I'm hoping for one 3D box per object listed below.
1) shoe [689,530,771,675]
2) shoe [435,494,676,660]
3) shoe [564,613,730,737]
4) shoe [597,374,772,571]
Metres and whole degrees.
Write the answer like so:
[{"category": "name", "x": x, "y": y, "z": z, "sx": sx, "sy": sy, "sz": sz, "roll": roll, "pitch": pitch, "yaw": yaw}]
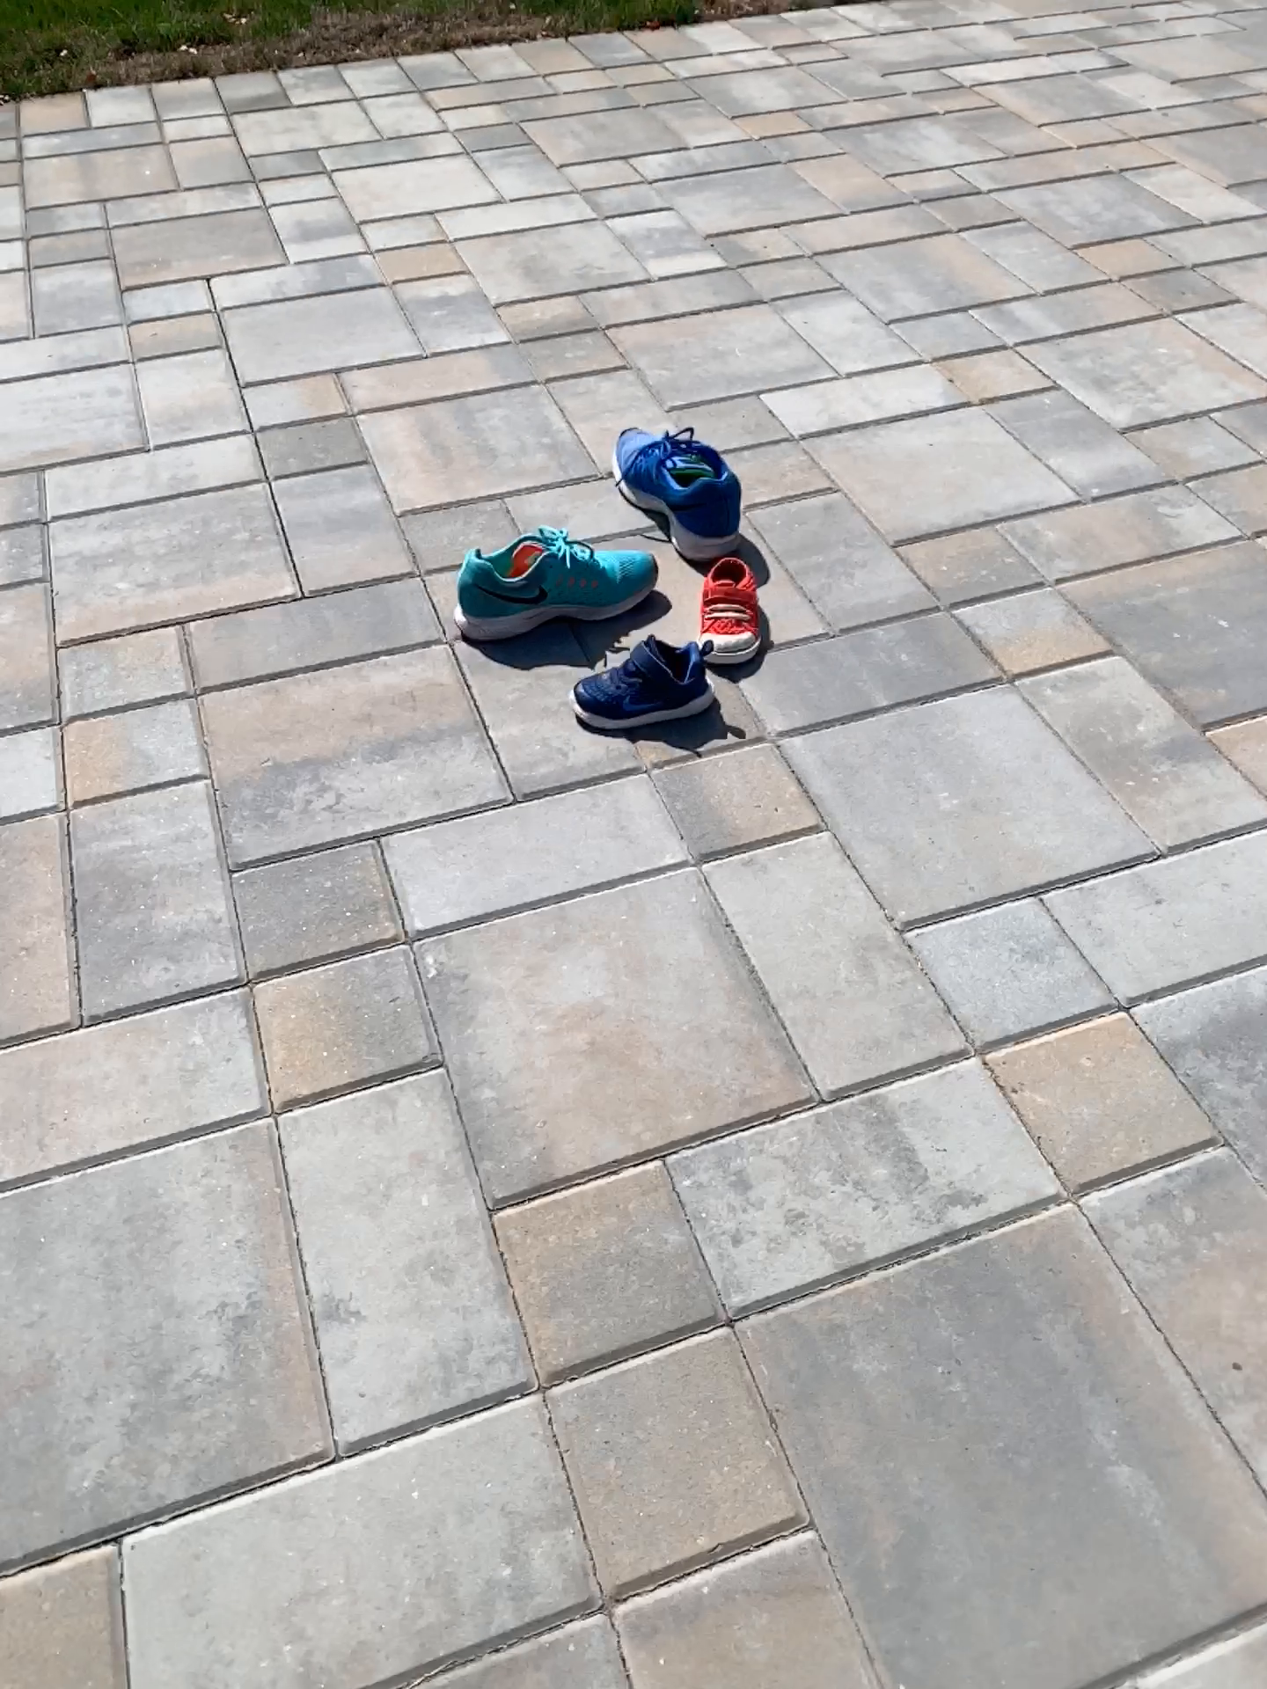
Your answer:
[{"category": "shoe", "x": 0.104, "y": -0.263, "z": 1.402, "sx": 0.080, "sy": 0.080, "sz": 0.151, "roll": 2, "pitch": 46, "yaw": 2}, {"category": "shoe", "x": -0.085, "y": -0.296, "z": 1.427, "sx": 0.240, "sy": 0.100, "sz": 0.100, "roll": -14, "pitch": 48, "yaw": -13}, {"category": "shoe", "x": 0.012, "y": -0.172, "z": 1.307, "sx": 0.150, "sy": 0.070, "sz": 0.080, "roll": -9, "pitch": 47, "yaw": -9}, {"category": "shoe", "x": 0.055, "y": -0.450, "z": 1.553, "sx": 0.110, "sy": 0.110, "sz": 0.241, "roll": -18, "pitch": 49, "yaw": -17}]
